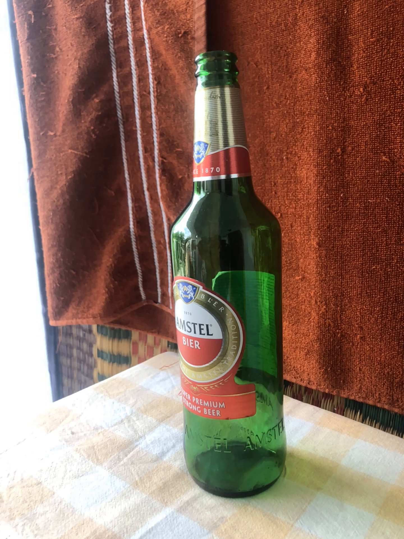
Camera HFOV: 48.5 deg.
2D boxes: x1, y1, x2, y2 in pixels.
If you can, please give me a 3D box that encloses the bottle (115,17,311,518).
[{"bbox_3d":[0.011,0.002,0.288,0.080,0.269,0.080,-3,14,1],"label":"bottle"}]
